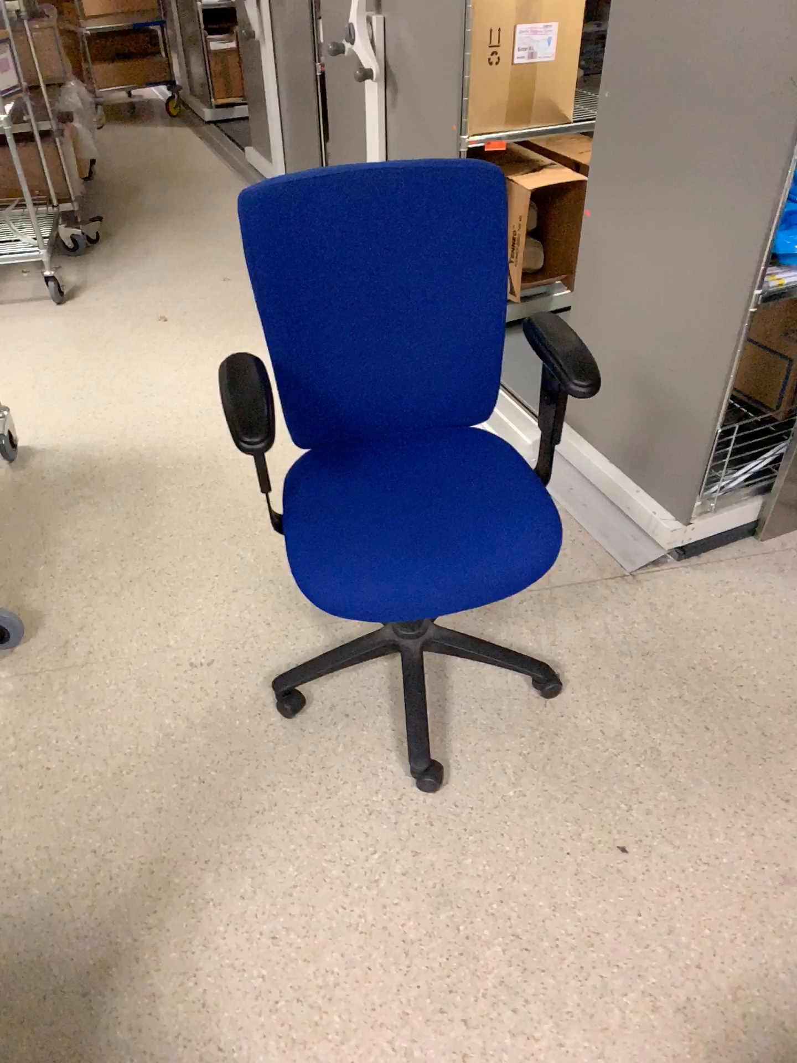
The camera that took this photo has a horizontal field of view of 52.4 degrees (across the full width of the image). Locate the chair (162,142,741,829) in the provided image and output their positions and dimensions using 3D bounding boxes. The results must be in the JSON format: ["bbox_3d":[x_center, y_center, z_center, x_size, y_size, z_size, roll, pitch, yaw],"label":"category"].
[{"bbox_3d":[0.014,-0.117,1.548,0.670,0.930,0.767,-12,40,-13],"label":"chair"}]
